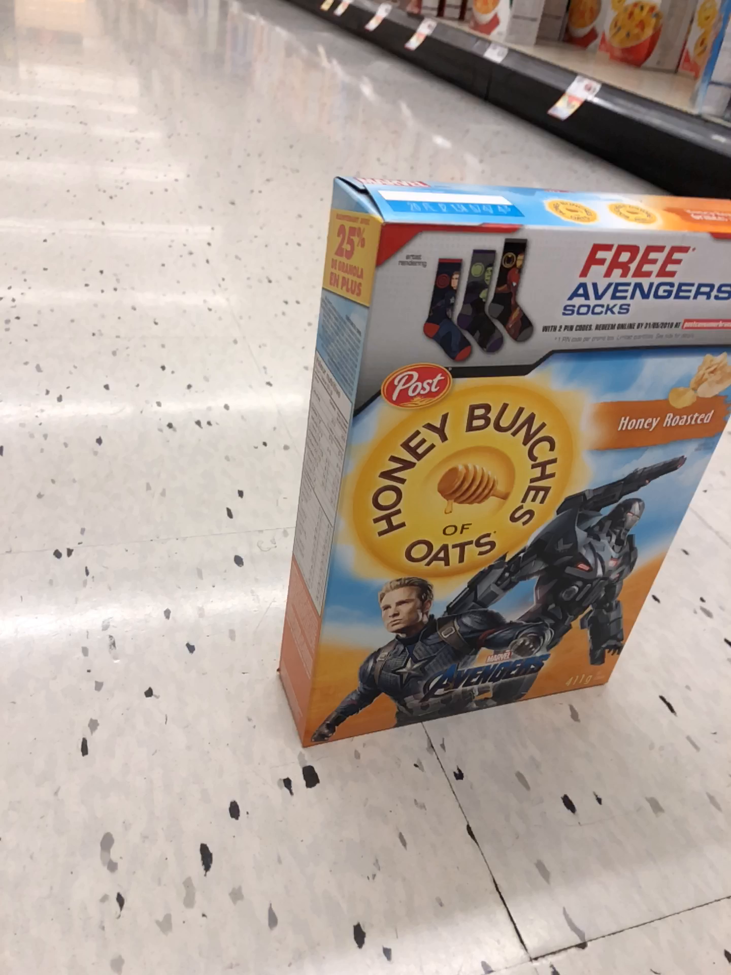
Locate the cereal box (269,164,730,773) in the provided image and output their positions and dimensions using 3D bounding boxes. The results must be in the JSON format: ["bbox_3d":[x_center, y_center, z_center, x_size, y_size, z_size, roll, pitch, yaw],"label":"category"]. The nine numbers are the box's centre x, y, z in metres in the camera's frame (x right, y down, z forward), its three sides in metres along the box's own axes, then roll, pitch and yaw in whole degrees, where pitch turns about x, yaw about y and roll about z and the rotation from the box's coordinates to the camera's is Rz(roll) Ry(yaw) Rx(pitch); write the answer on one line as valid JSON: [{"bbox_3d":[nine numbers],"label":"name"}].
[{"bbox_3d":[0.076,0.001,0.369,0.210,0.258,0.060,-6,36,-22],"label":"cereal box"}]
